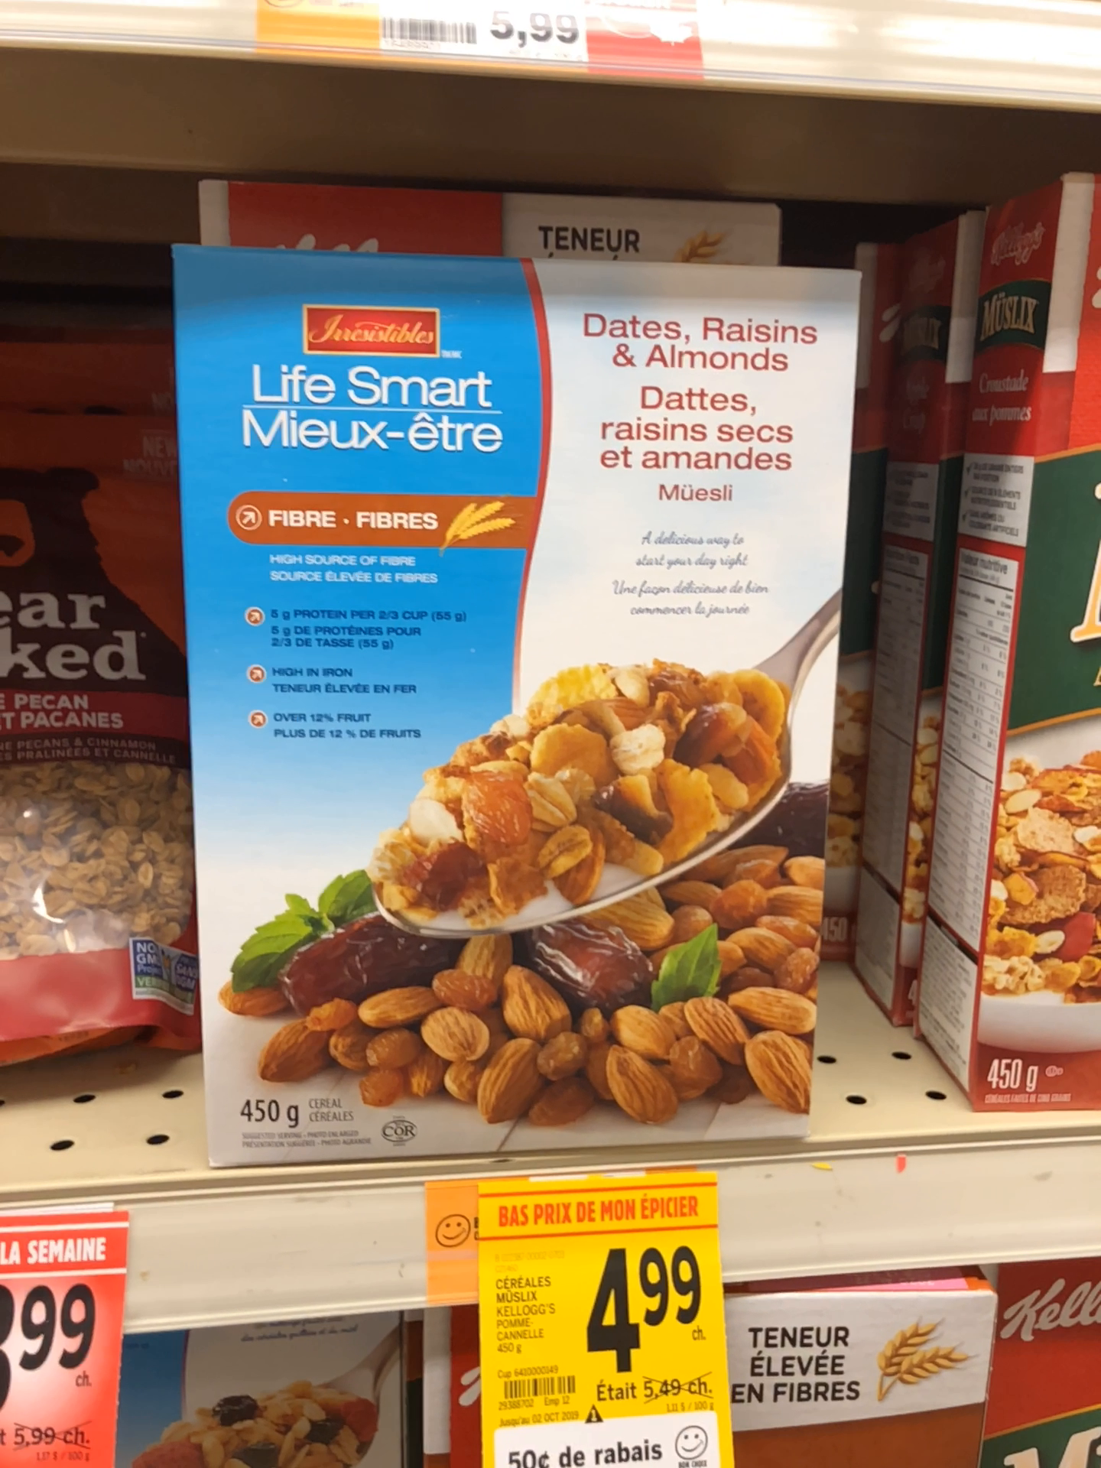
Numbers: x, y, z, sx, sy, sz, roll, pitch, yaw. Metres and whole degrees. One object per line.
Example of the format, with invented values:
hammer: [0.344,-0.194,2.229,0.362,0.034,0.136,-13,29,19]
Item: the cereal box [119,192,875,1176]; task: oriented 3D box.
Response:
cereal box: [-0.014,-0.008,0.326,0.170,0.239,0.050,0,13,-6]
